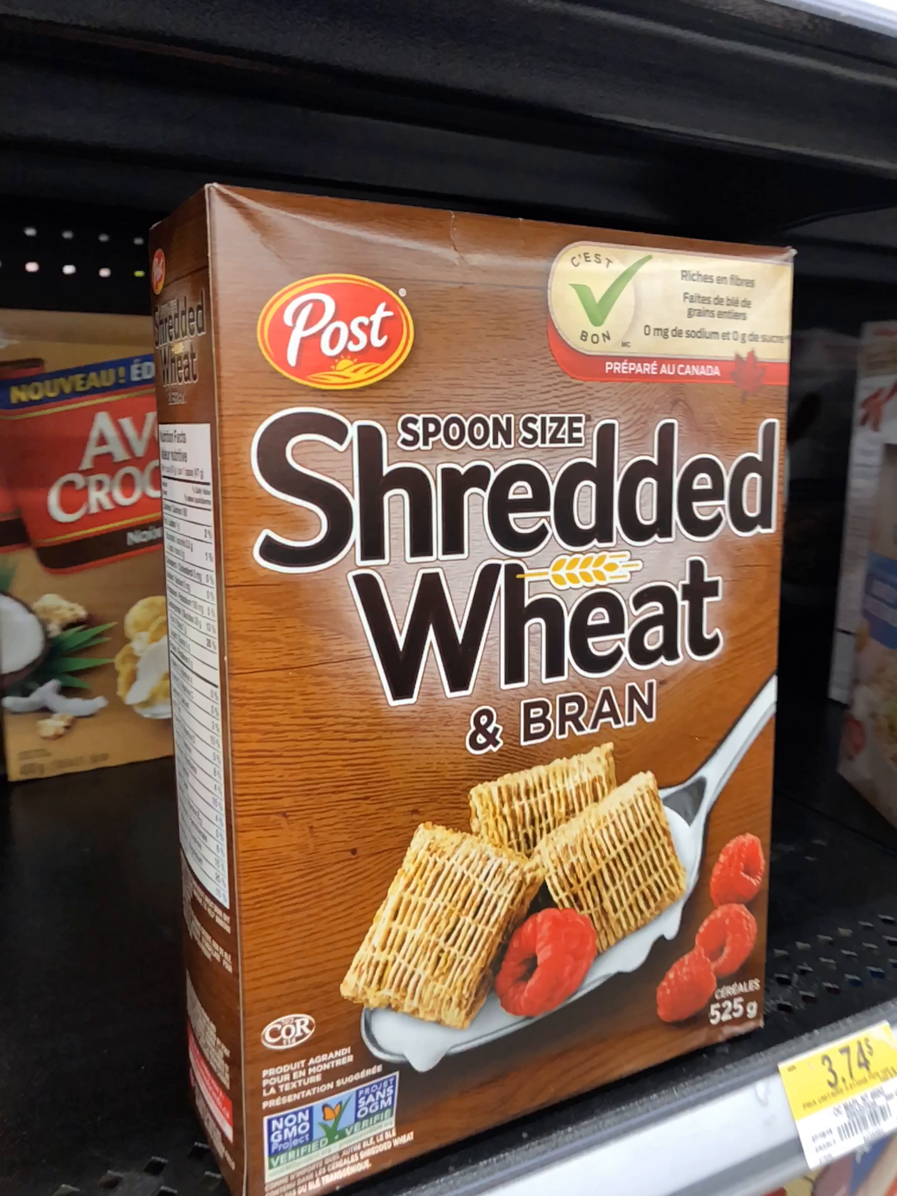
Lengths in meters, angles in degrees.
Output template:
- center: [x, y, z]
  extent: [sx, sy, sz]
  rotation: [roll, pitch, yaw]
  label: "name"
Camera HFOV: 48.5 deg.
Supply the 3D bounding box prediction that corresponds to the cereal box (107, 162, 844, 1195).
- center: [0.017, 0.024, 0.304]
  extent: [0.210, 0.259, 0.060]
  rotation: [-5, 10, -29]
  label: "cereal box"
